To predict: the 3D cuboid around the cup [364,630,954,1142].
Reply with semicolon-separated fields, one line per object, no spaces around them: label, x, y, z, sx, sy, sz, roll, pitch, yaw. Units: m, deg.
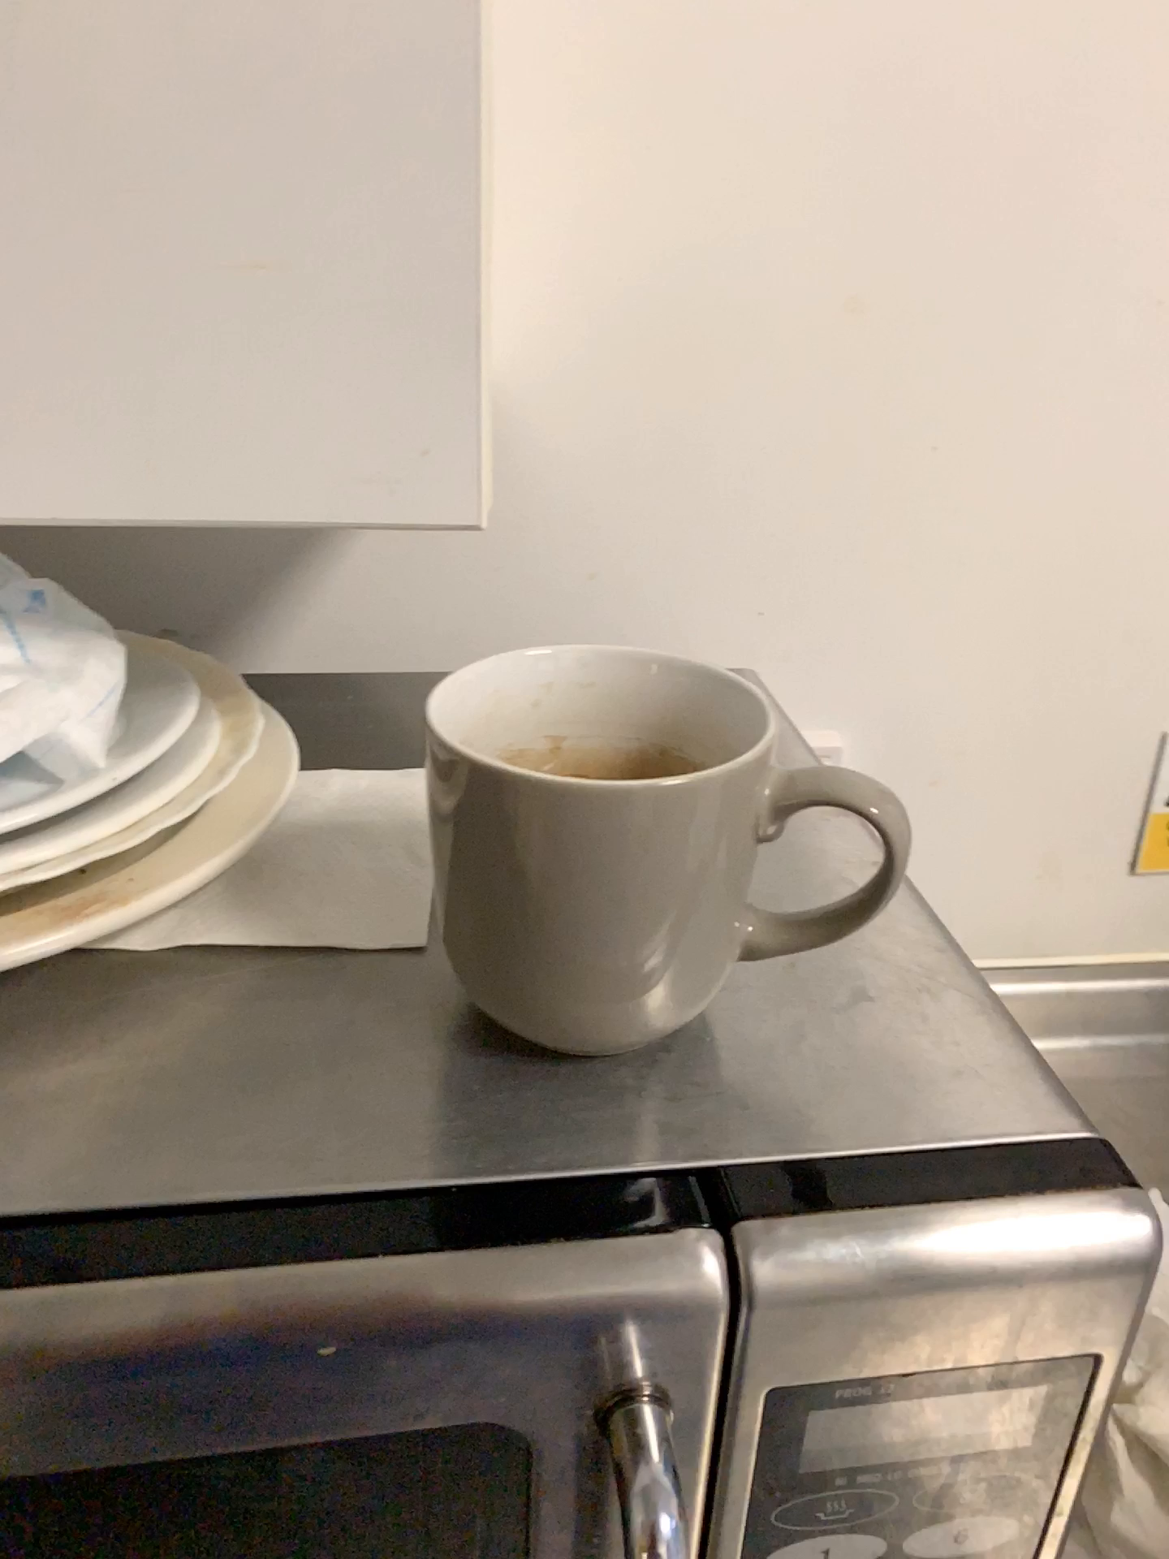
cup;0.020;0.020;0.312;0.124;0.079;0.102;6;25;8
